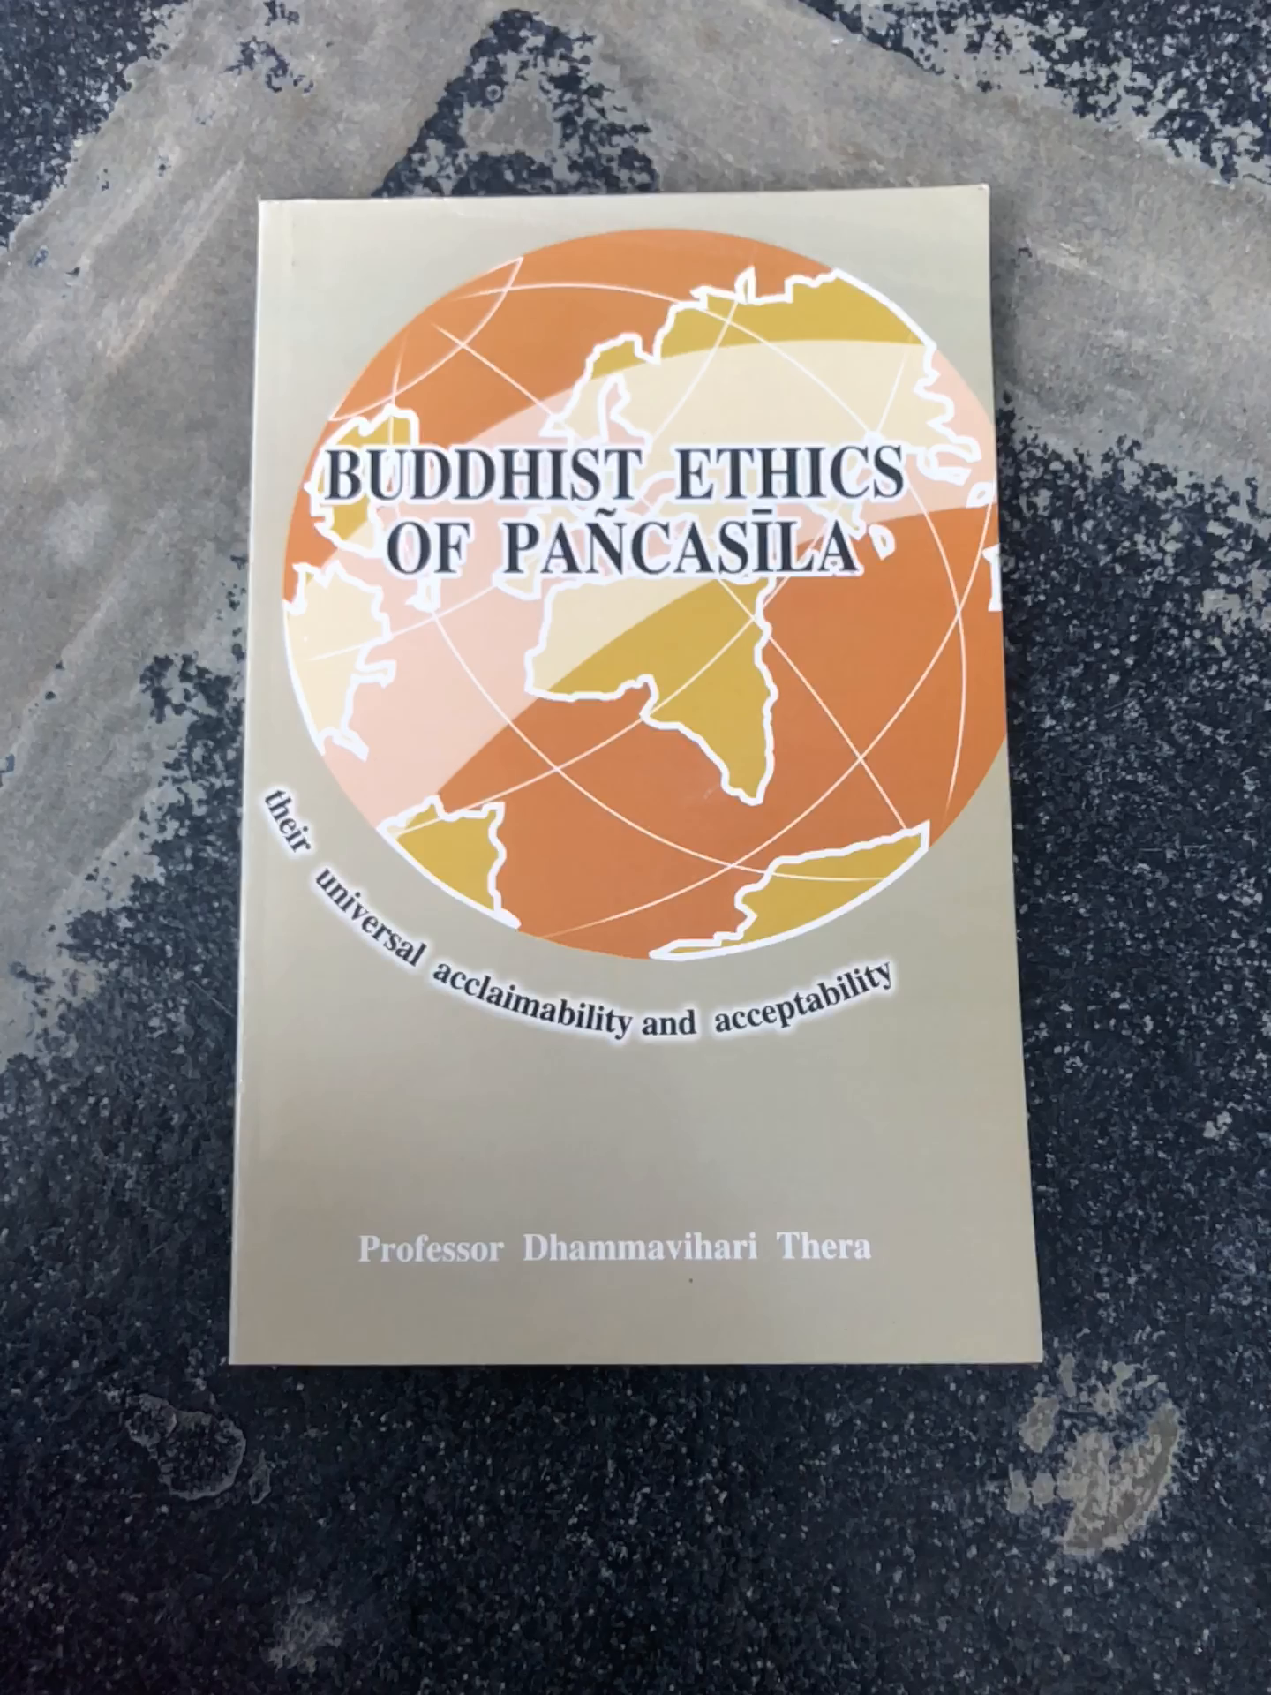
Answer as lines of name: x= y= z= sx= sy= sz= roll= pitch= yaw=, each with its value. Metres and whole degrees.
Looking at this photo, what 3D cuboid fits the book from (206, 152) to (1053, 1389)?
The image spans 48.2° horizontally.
book: x=-0.003 y=-0.021 z=0.256 sx=0.140 sy=0.010 sz=0.220 roll=-1 pitch=81 yaw=-1
